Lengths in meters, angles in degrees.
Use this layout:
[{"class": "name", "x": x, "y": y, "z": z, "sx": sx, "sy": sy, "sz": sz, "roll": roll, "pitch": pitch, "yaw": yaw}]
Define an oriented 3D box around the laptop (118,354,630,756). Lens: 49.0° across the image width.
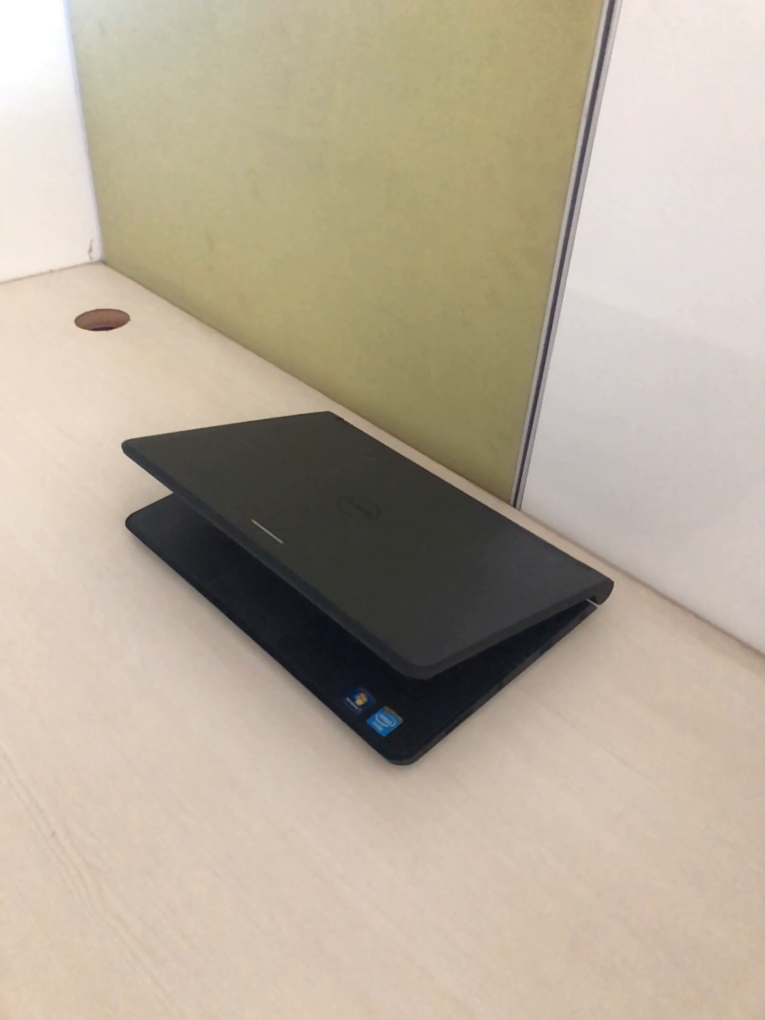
[{"class": "laptop", "x": -0.016, "y": 0.003, "z": 0.655, "sx": 0.229, "sy": 0.072, "sz": 0.323, "roll": -29, "pitch": 48, "yaw": -35}]
